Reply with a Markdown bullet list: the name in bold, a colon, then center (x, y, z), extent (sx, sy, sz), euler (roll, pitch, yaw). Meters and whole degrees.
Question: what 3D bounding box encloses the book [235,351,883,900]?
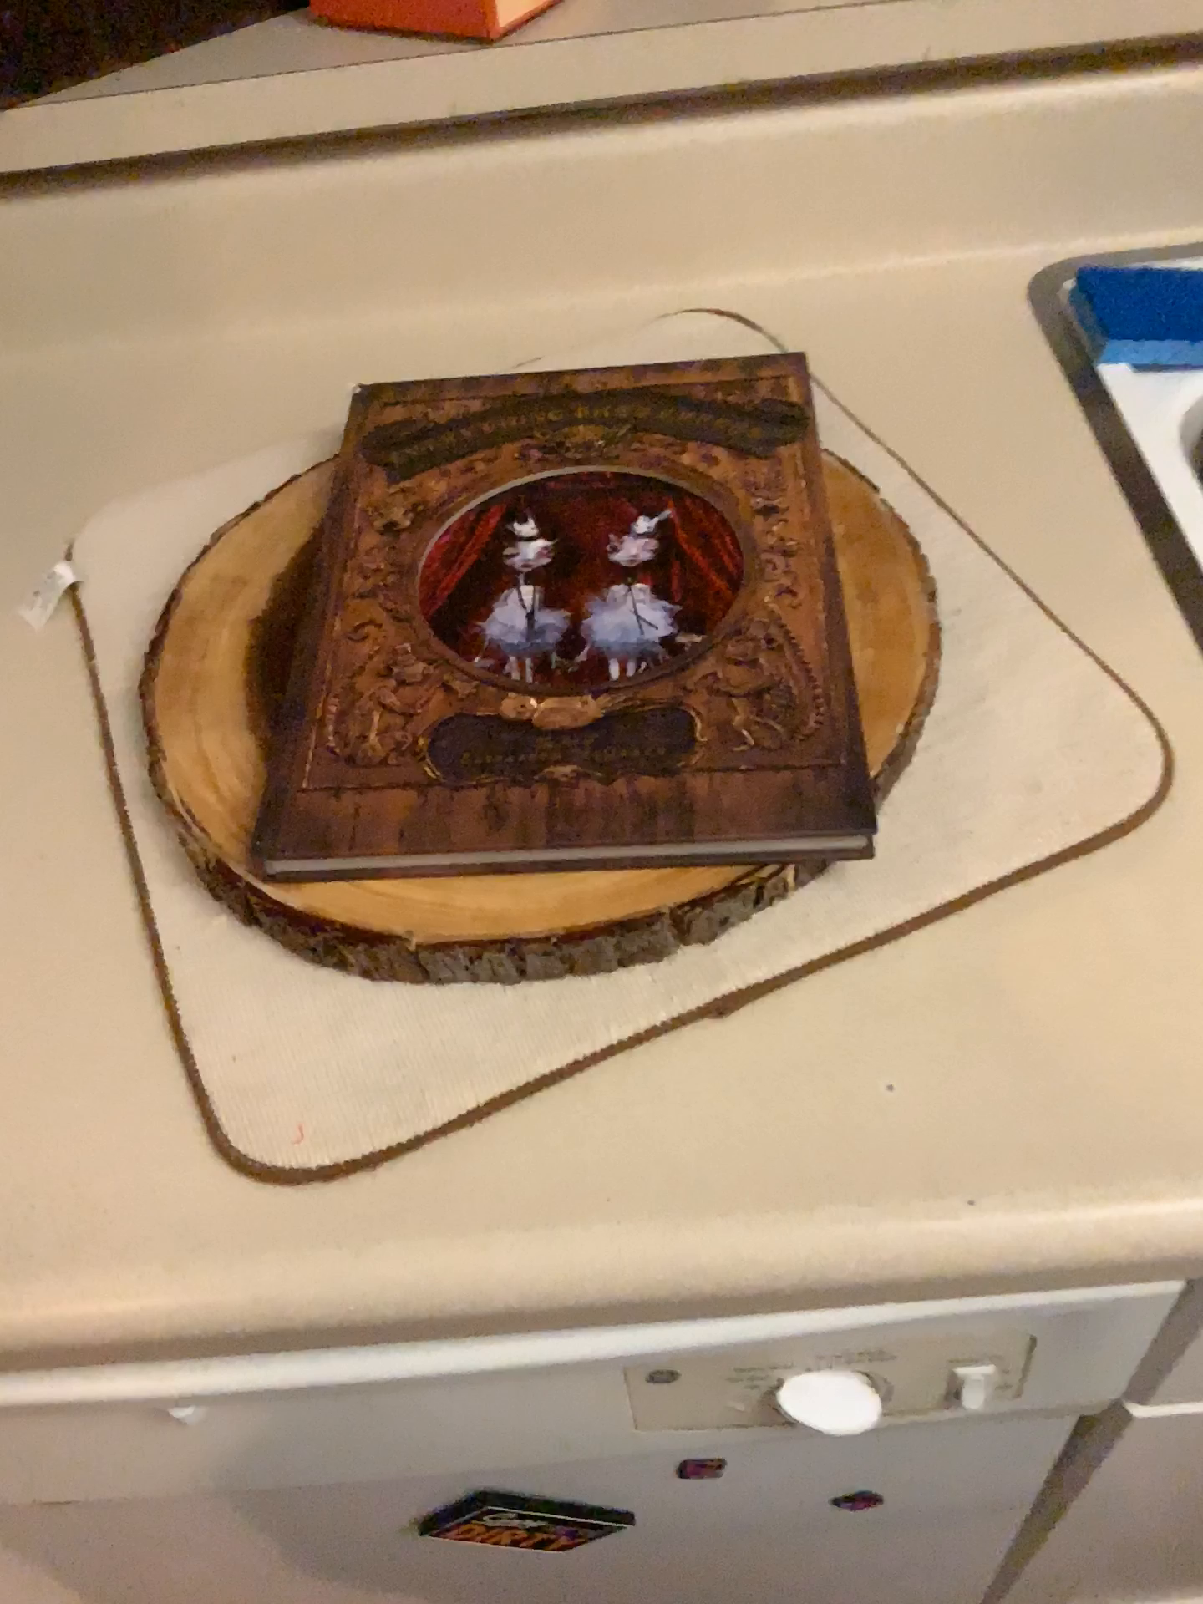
- **book**: center (-0.015, -0.094, 0.578), extent (0.230, 0.020, 0.310), euler (-3, 49, 4)
